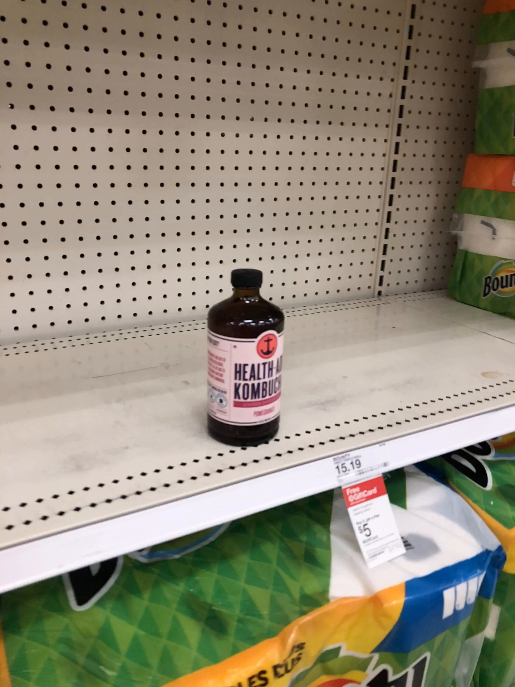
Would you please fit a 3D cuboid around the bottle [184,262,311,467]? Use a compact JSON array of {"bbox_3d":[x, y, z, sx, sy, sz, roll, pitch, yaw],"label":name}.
[{"bbox_3d":[-0.014,0.016,0.561,0.086,0.169,0.090,2,20,-1],"label":"bottle"}]
